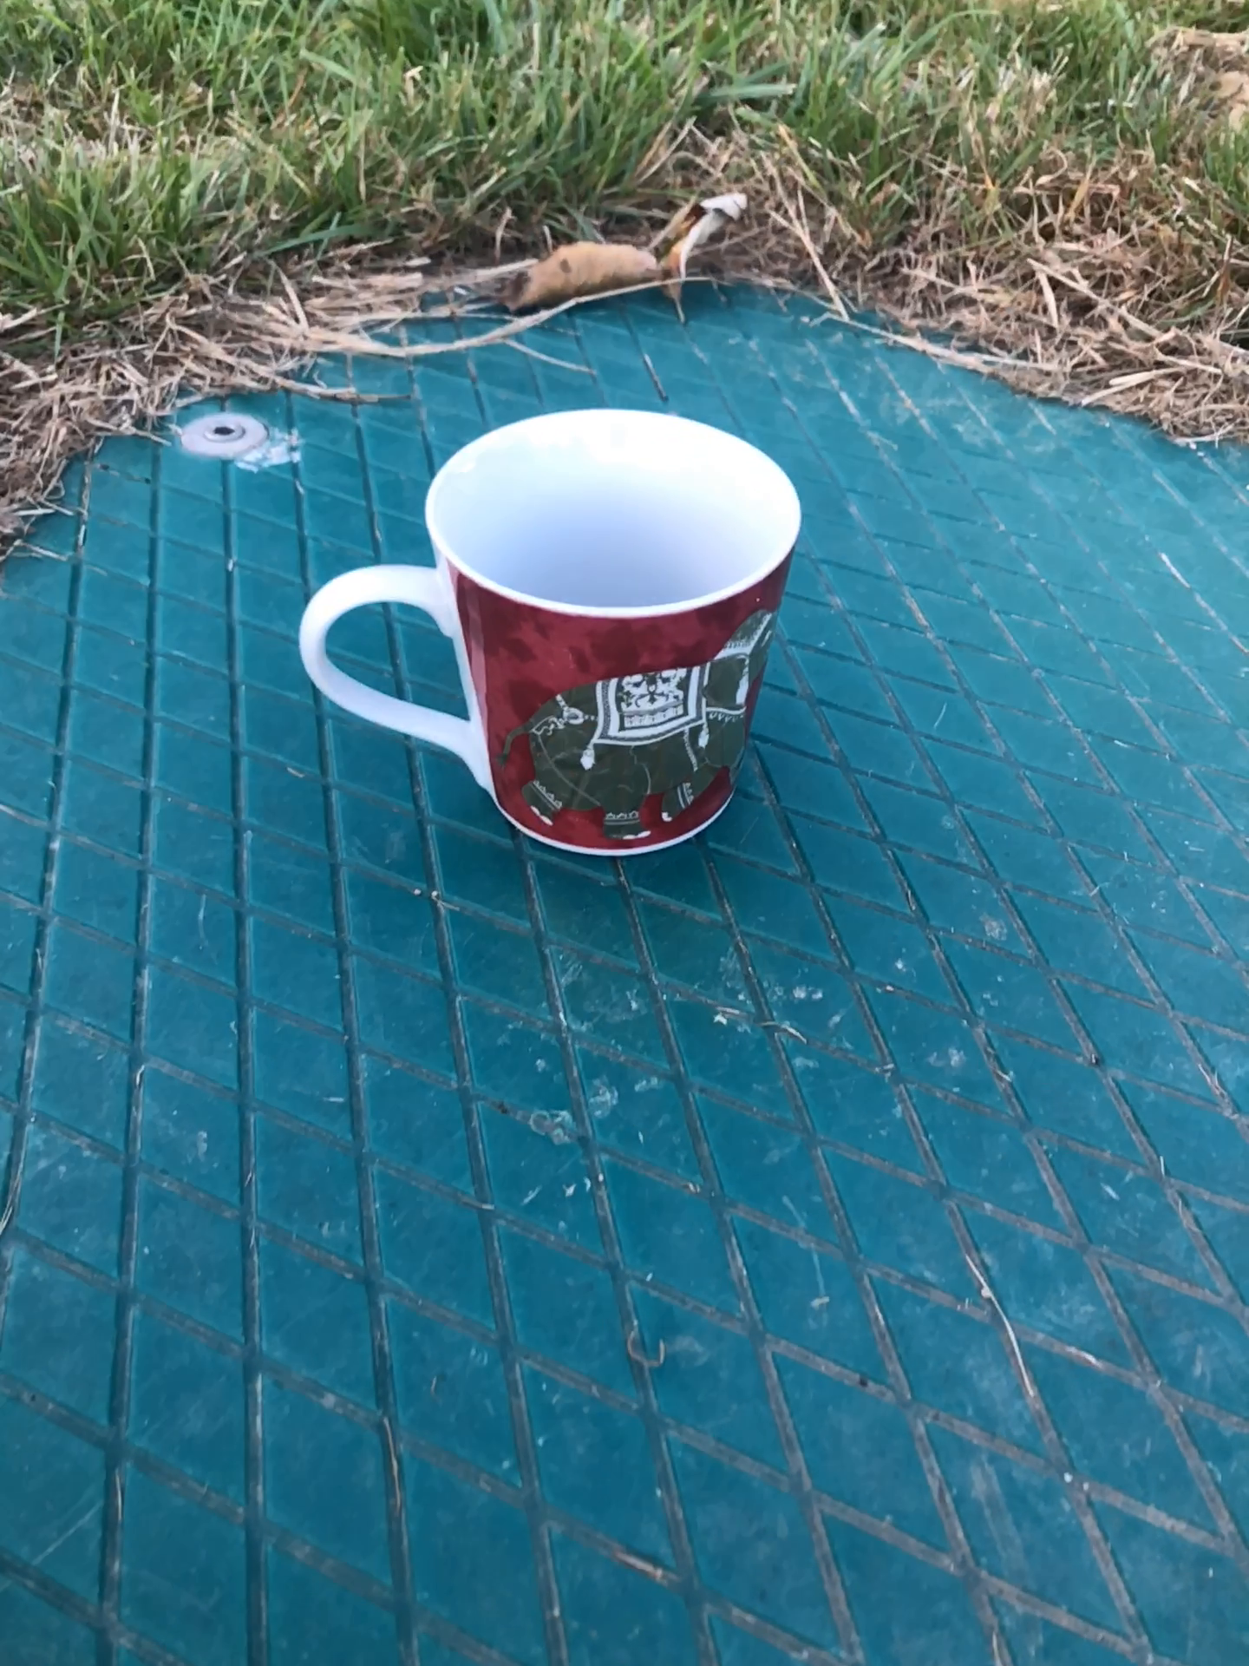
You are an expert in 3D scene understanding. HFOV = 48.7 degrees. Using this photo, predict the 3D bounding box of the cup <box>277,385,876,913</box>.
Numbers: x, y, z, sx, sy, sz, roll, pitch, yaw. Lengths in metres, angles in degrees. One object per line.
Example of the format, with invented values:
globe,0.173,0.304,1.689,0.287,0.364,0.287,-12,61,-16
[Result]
cup,-0.015,-0.044,0.310,0.110,0.070,0.082,-8,45,-10
